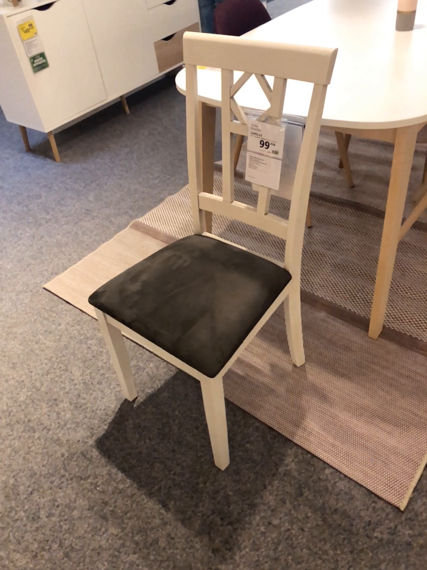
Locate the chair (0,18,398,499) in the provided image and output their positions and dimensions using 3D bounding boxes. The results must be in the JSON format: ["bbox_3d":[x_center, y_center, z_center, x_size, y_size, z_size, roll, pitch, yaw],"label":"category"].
[{"bbox_3d":[0.005,-0.066,1.105,0.510,0.855,0.563,26,51,33],"label":"chair"}]
